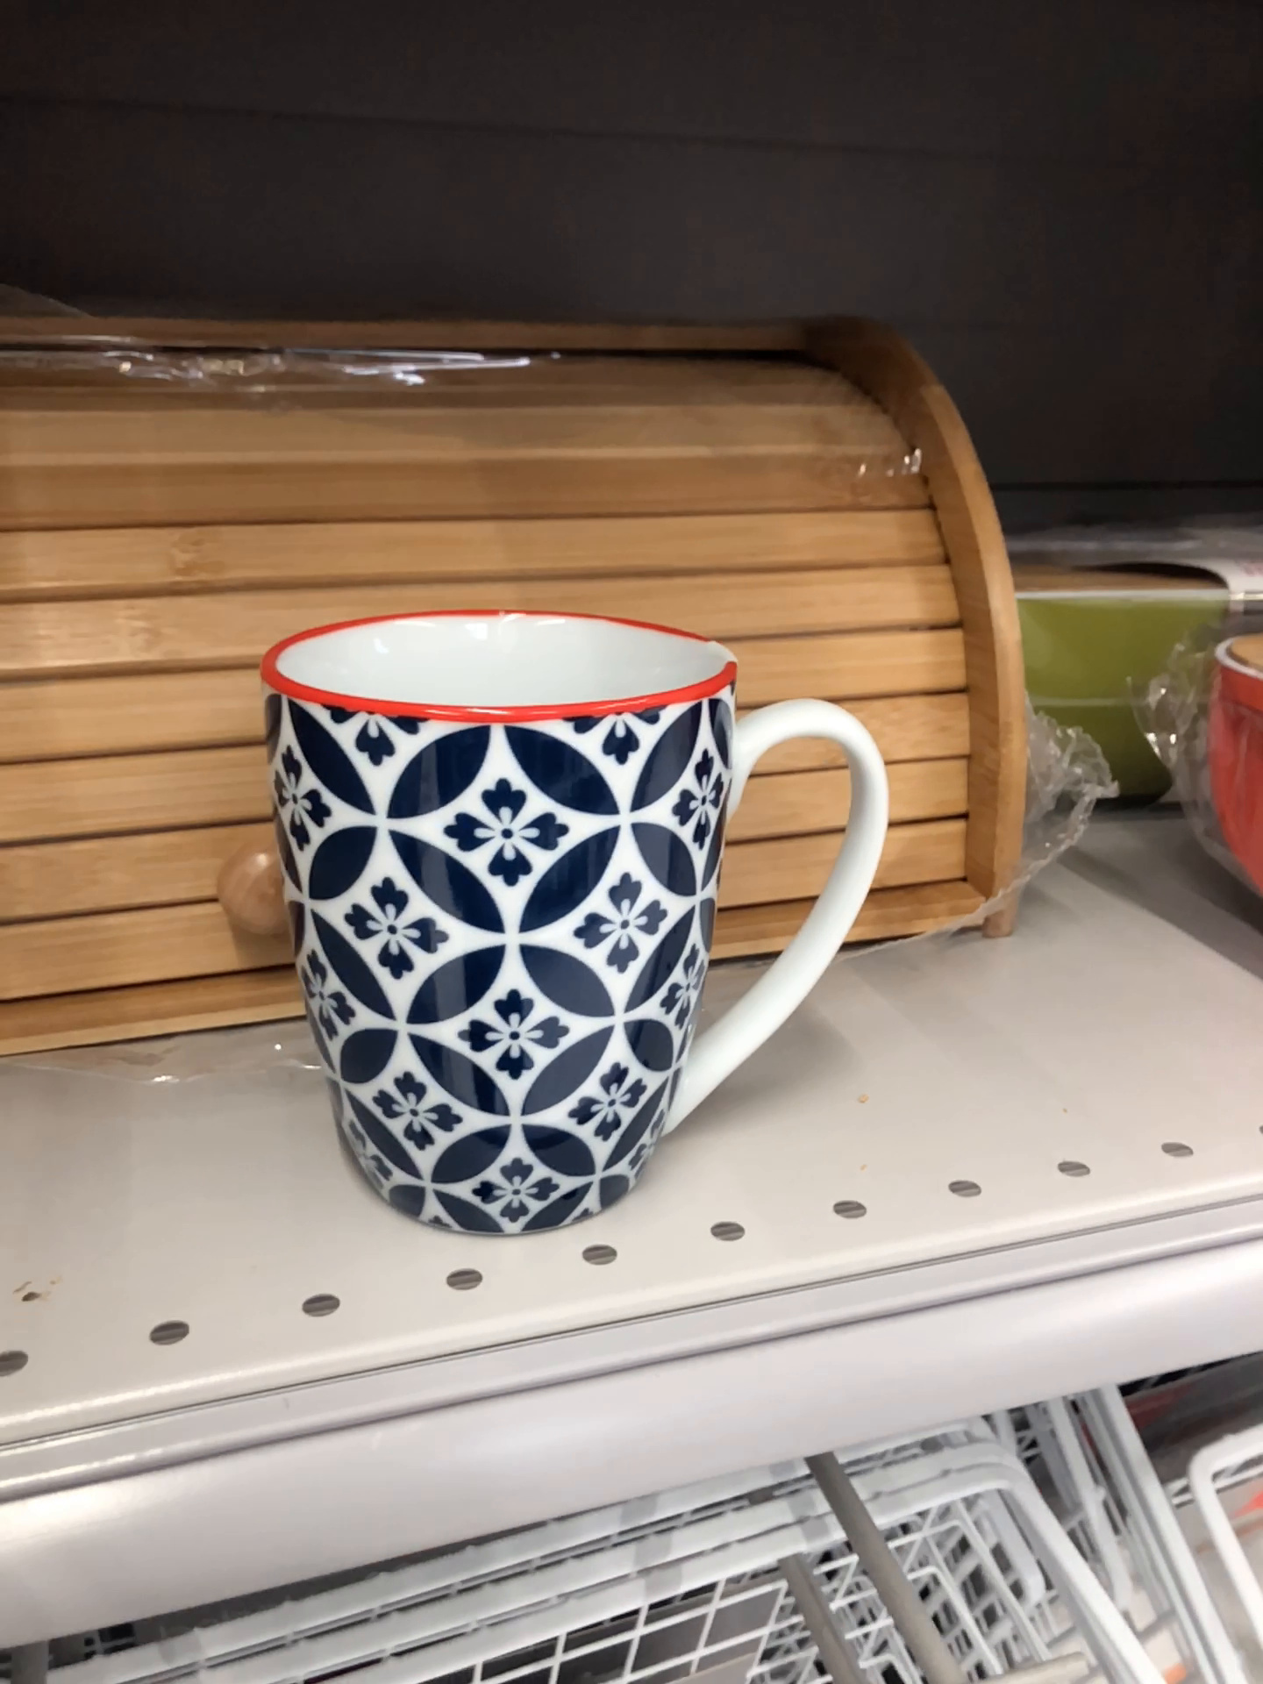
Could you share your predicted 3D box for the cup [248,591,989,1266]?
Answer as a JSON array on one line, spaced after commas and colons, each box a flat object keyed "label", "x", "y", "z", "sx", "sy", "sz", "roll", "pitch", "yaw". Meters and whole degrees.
[{"label": "cup", "x": -0.008, "y": 0.007, "z": 0.264, "sx": 0.113, "sy": 0.090, "sz": 0.080, "roll": -5, "pitch": 21, "yaw": -17}]
